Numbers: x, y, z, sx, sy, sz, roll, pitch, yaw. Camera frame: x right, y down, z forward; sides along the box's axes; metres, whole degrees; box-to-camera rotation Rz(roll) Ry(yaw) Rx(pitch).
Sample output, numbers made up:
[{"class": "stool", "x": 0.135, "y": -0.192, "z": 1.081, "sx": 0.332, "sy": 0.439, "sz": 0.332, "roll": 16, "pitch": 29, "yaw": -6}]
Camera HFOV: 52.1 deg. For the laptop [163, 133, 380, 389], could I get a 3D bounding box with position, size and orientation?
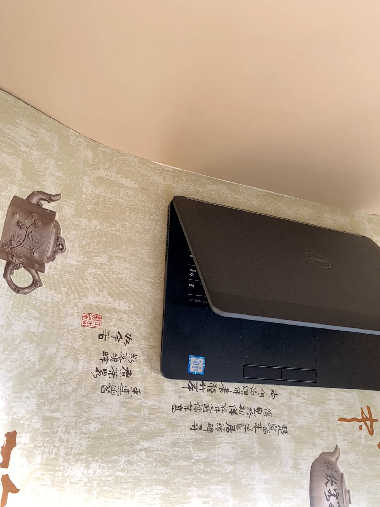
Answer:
[{"class": "laptop", "x": 0.142, "y": 0.031, "z": 0.435, "sx": 0.309, "sy": 0.136, "sz": 0.212, "roll": 10, "pitch": 66, "yaw": -19}]
